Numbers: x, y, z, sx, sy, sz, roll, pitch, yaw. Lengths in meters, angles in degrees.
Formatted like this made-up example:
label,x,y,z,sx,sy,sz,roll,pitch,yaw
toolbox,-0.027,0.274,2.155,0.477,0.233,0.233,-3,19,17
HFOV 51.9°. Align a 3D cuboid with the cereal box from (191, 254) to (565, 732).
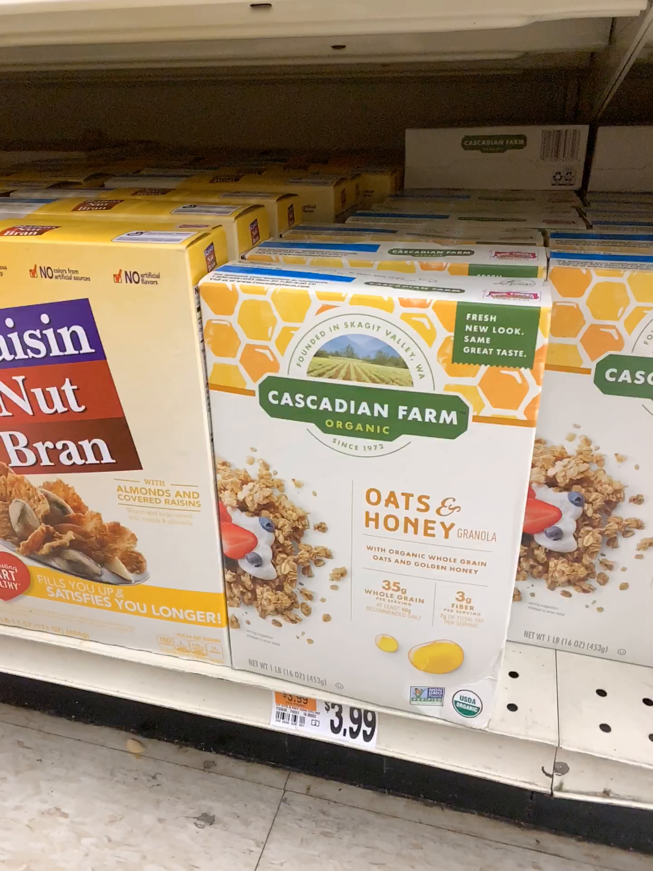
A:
label,x,y,z,sx,sy,sz,roll,pitch,yaw
cereal box,0.025,0.031,0.354,0.160,0.229,0.060,8,27,17
